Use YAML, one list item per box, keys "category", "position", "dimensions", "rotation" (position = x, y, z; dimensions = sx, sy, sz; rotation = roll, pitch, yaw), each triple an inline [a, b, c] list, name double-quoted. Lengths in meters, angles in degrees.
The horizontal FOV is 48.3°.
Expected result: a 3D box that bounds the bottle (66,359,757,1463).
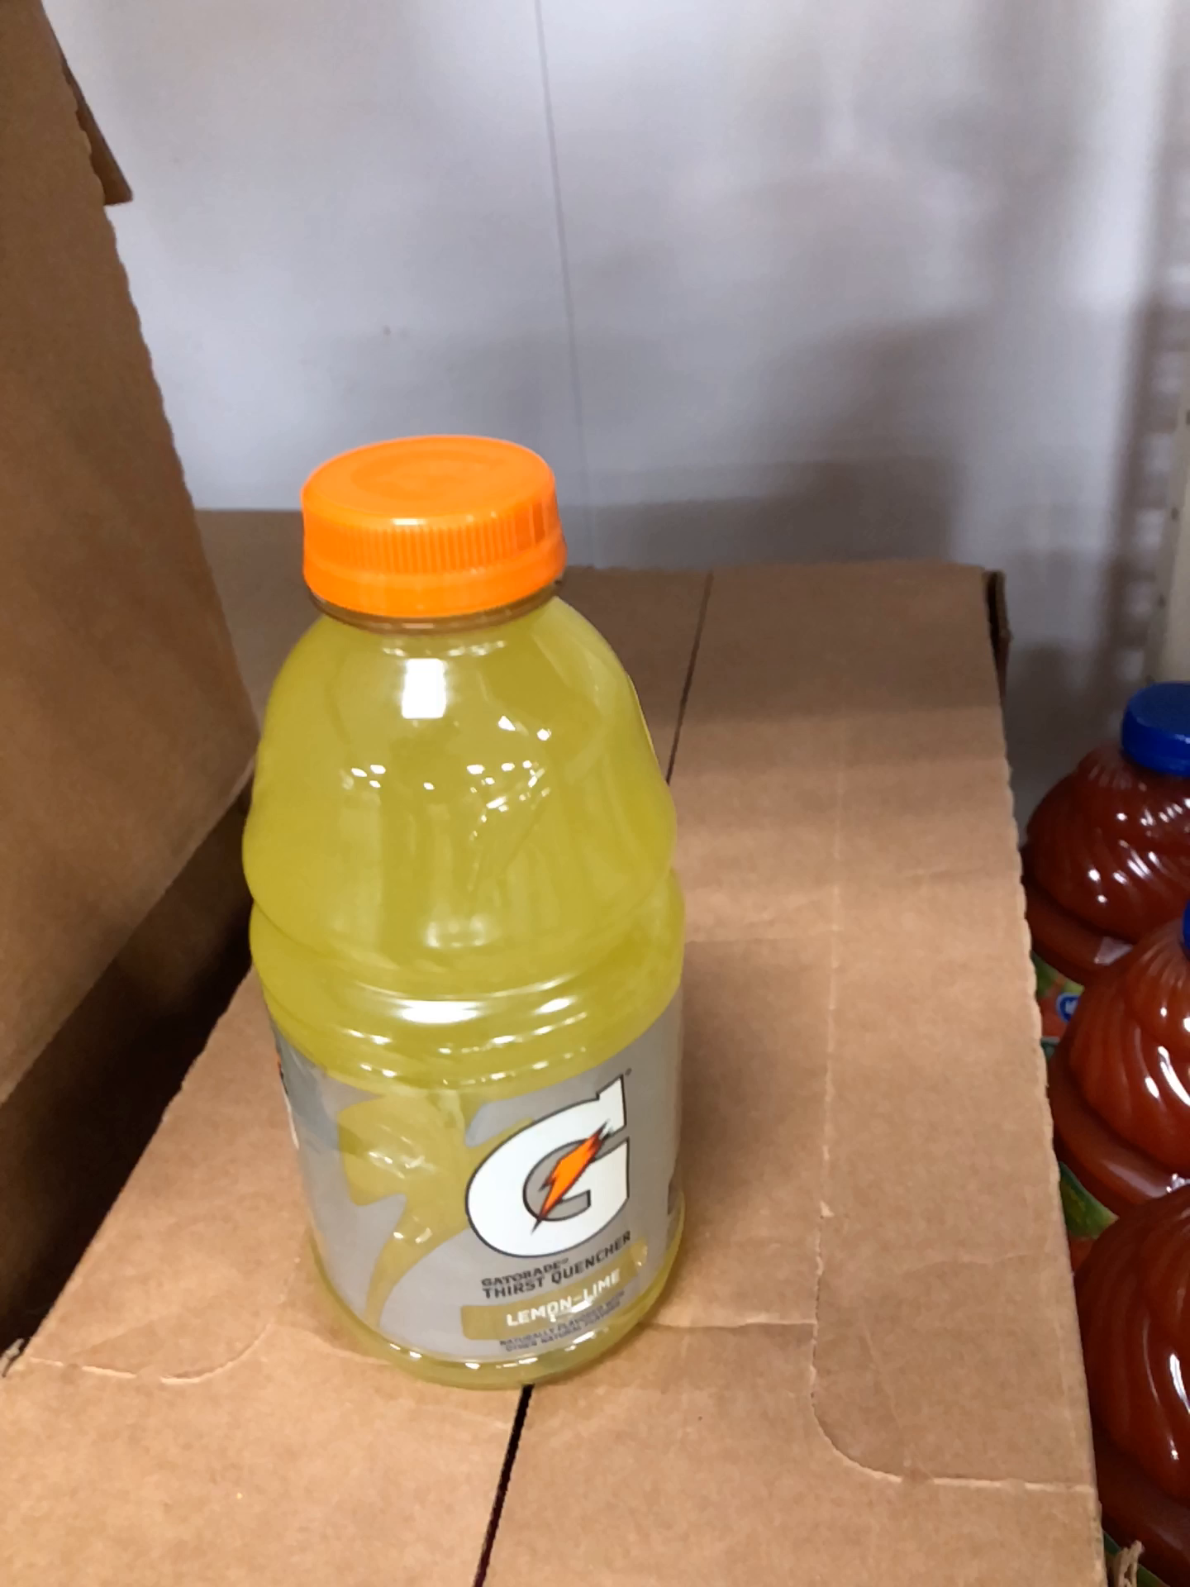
- category: "bottle"
  position: [-0.031, 0.030, 0.292]
  dimensions: [0.100, 0.209, 0.090]
  rotation: [-16, 35, -15]
